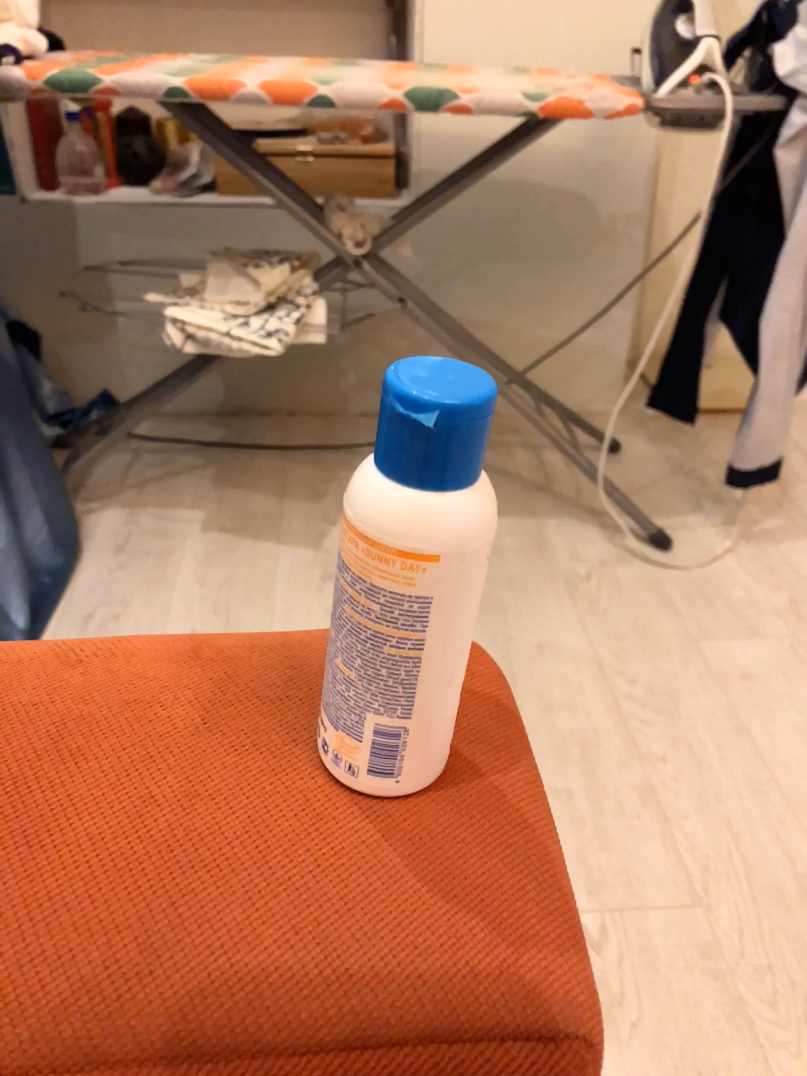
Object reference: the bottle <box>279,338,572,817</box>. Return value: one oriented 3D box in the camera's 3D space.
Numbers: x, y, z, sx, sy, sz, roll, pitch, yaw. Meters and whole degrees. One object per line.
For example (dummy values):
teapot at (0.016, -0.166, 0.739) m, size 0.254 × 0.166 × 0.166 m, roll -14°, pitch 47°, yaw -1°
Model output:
bottle at (0.001, 0.010, 0.235) m, size 0.044 × 0.112 × 0.047 m, roll 7°, pitch 27°, yaw -4°
